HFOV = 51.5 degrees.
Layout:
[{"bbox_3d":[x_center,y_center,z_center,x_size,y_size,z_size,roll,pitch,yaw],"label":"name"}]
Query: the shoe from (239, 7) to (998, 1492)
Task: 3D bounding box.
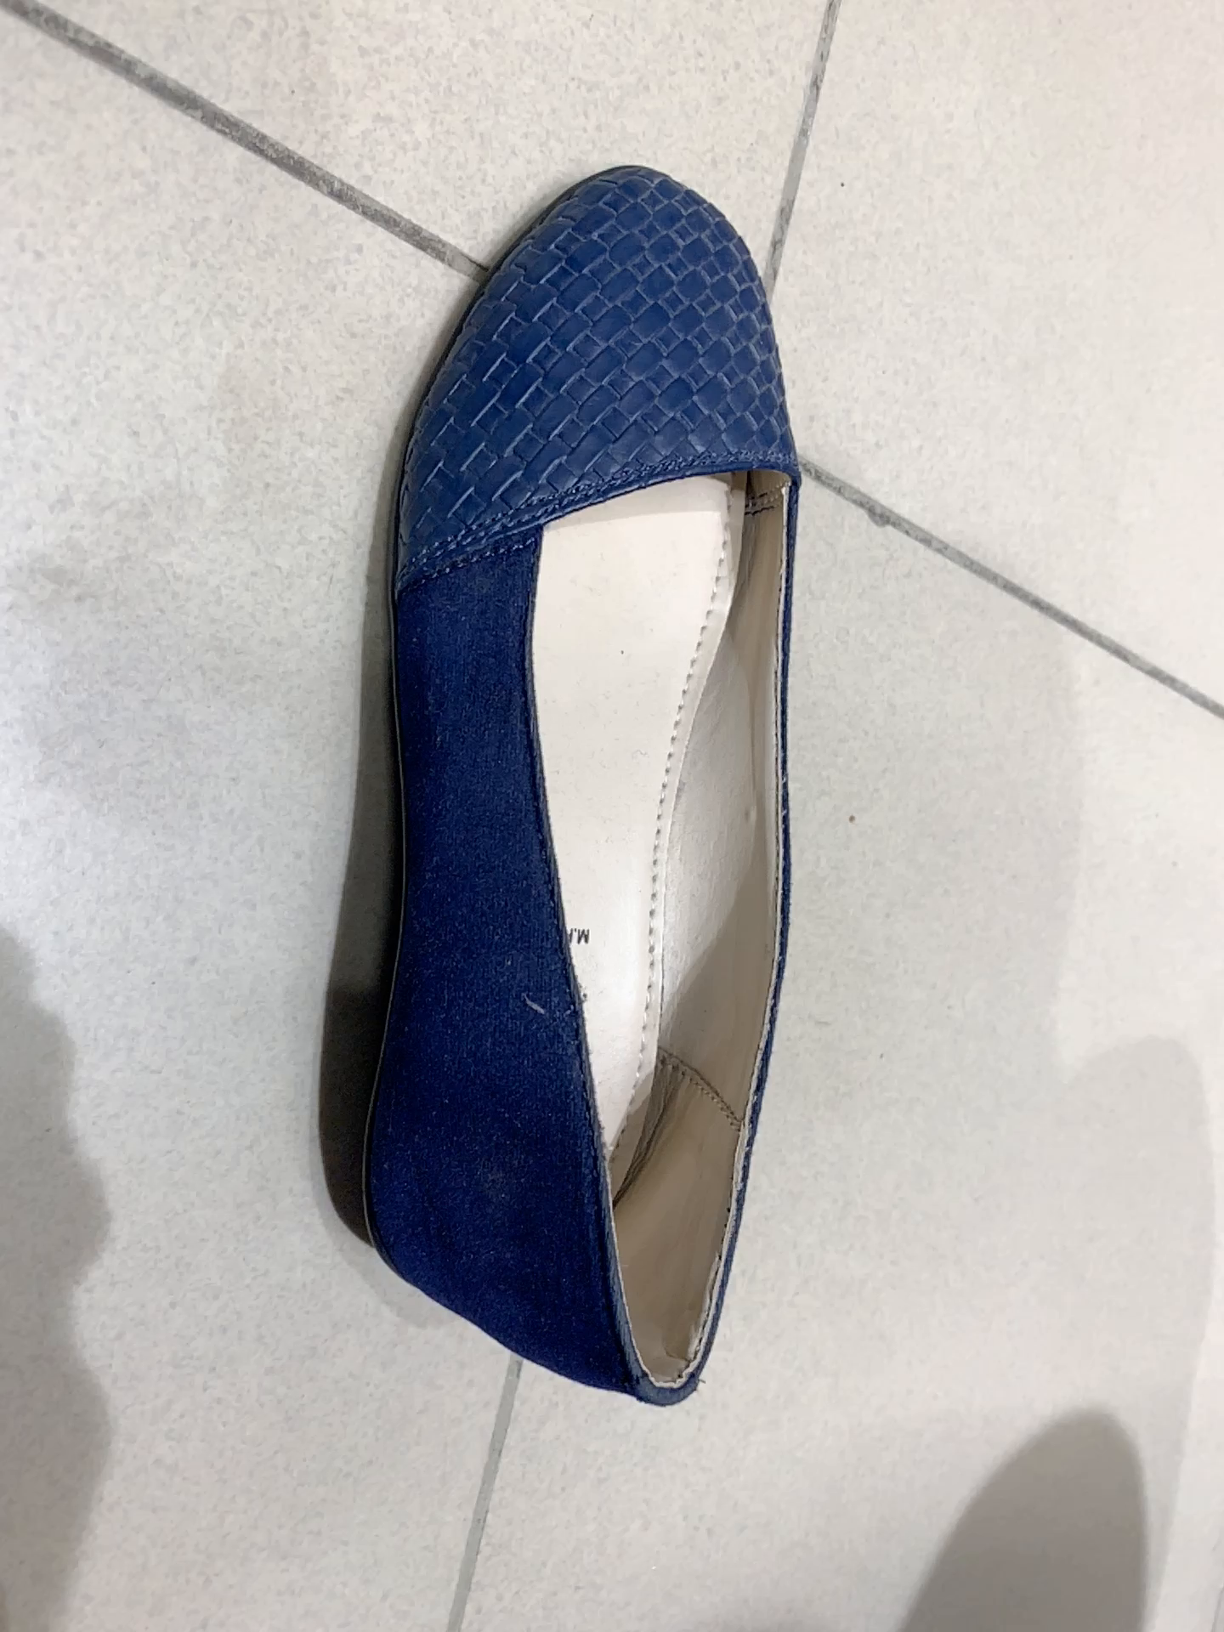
[{"bbox_3d":[0.003,-0.007,0.237,0.090,0.060,0.220,9,90,-39],"label":"shoe"}]
